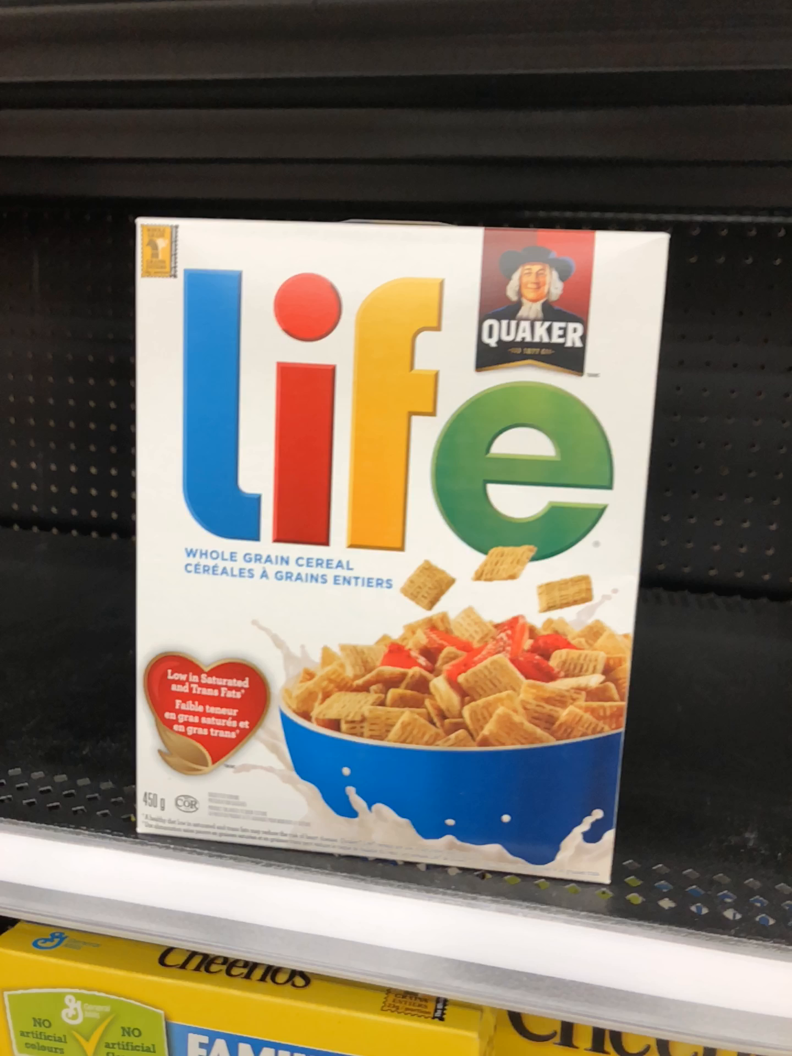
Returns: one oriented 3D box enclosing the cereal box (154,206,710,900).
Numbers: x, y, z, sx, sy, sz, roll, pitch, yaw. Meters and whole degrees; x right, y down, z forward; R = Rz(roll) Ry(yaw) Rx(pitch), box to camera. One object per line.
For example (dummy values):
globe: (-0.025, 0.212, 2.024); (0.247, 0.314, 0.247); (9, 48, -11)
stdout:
cereal box: (0.007, 0.009, 0.368); (0.200, 0.259, 0.060); (4, 10, 6)
